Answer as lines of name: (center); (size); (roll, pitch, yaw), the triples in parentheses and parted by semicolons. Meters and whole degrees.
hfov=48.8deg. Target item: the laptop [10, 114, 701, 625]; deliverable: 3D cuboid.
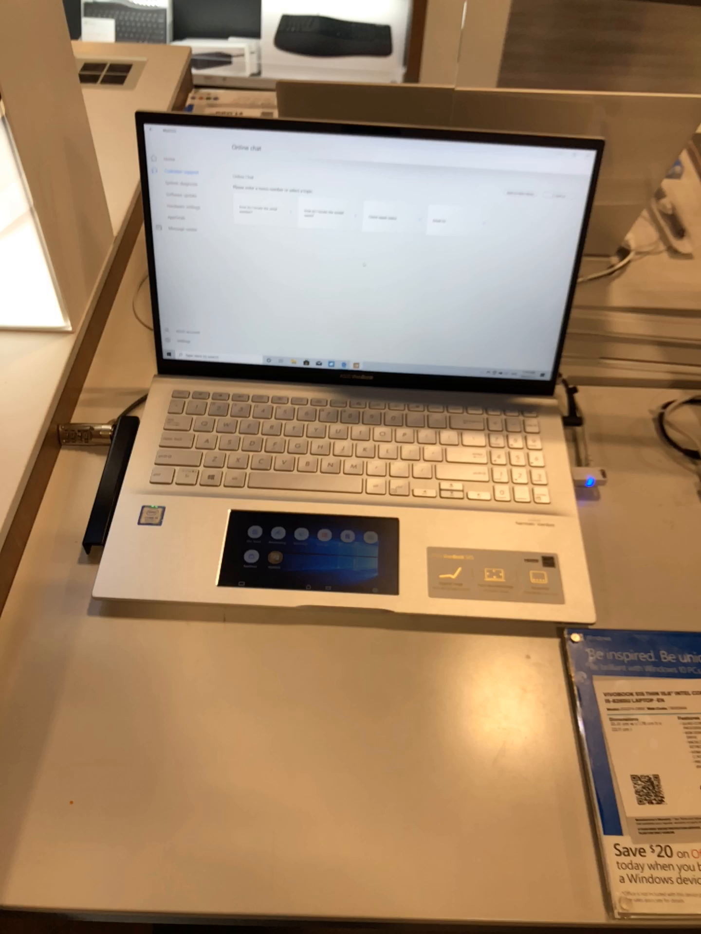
laptop: (0.006, -0.074, 0.532); (0.330, 0.189, 0.285); (3, 49, 0)
